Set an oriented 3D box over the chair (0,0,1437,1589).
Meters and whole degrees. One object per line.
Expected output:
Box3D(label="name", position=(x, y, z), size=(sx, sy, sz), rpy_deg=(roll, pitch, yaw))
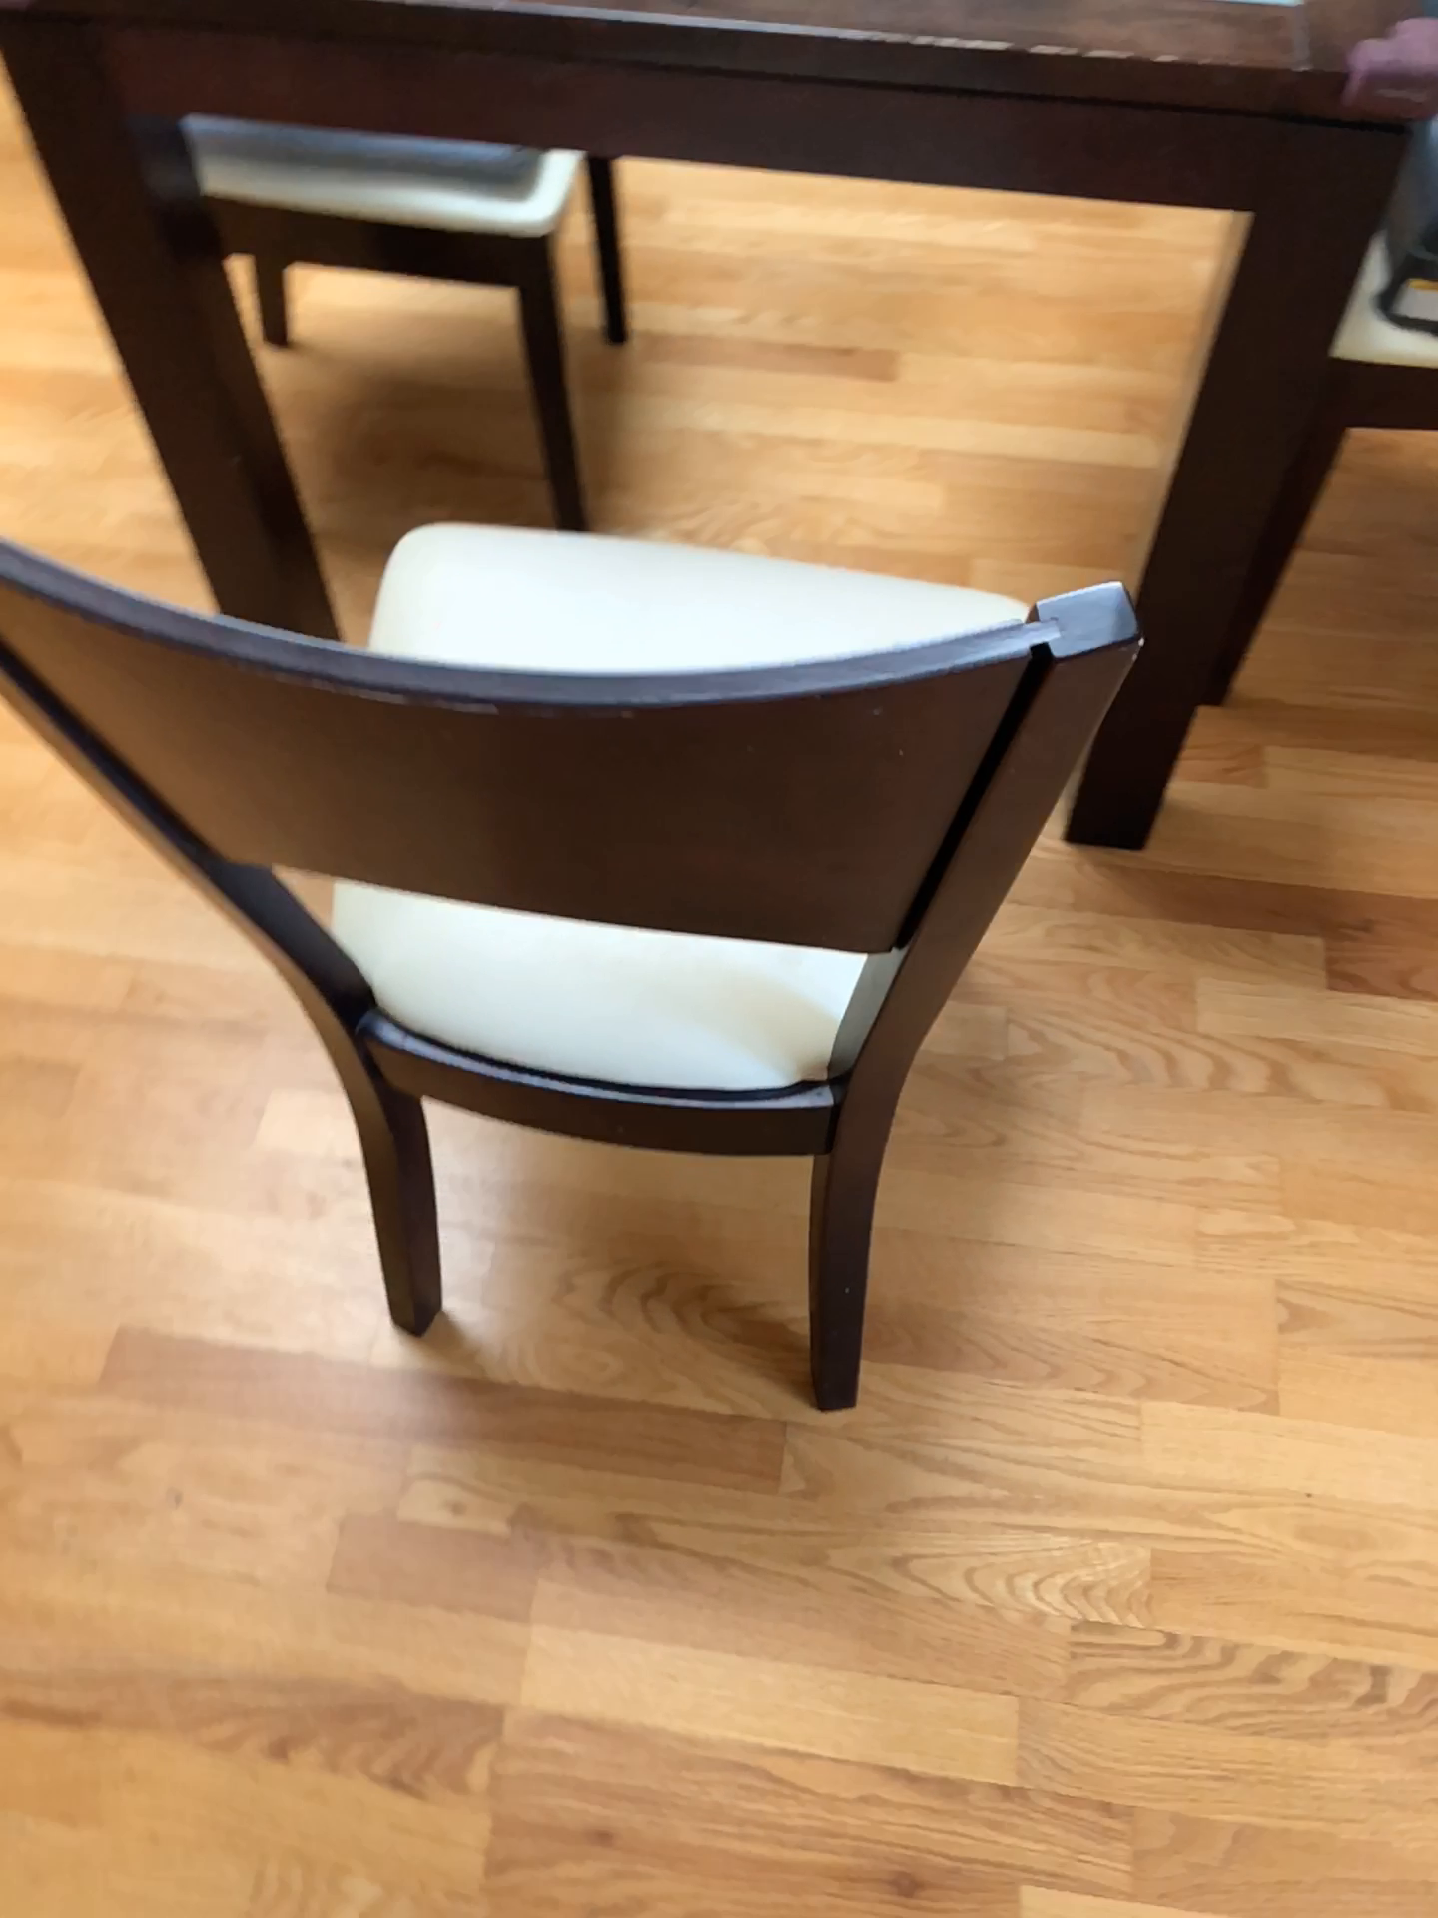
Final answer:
Box3D(label="chair", position=(0.012, -0.051, 1.049), size=(0.560, 0.996, 0.592), rpy_deg=(10, 58, 7))
